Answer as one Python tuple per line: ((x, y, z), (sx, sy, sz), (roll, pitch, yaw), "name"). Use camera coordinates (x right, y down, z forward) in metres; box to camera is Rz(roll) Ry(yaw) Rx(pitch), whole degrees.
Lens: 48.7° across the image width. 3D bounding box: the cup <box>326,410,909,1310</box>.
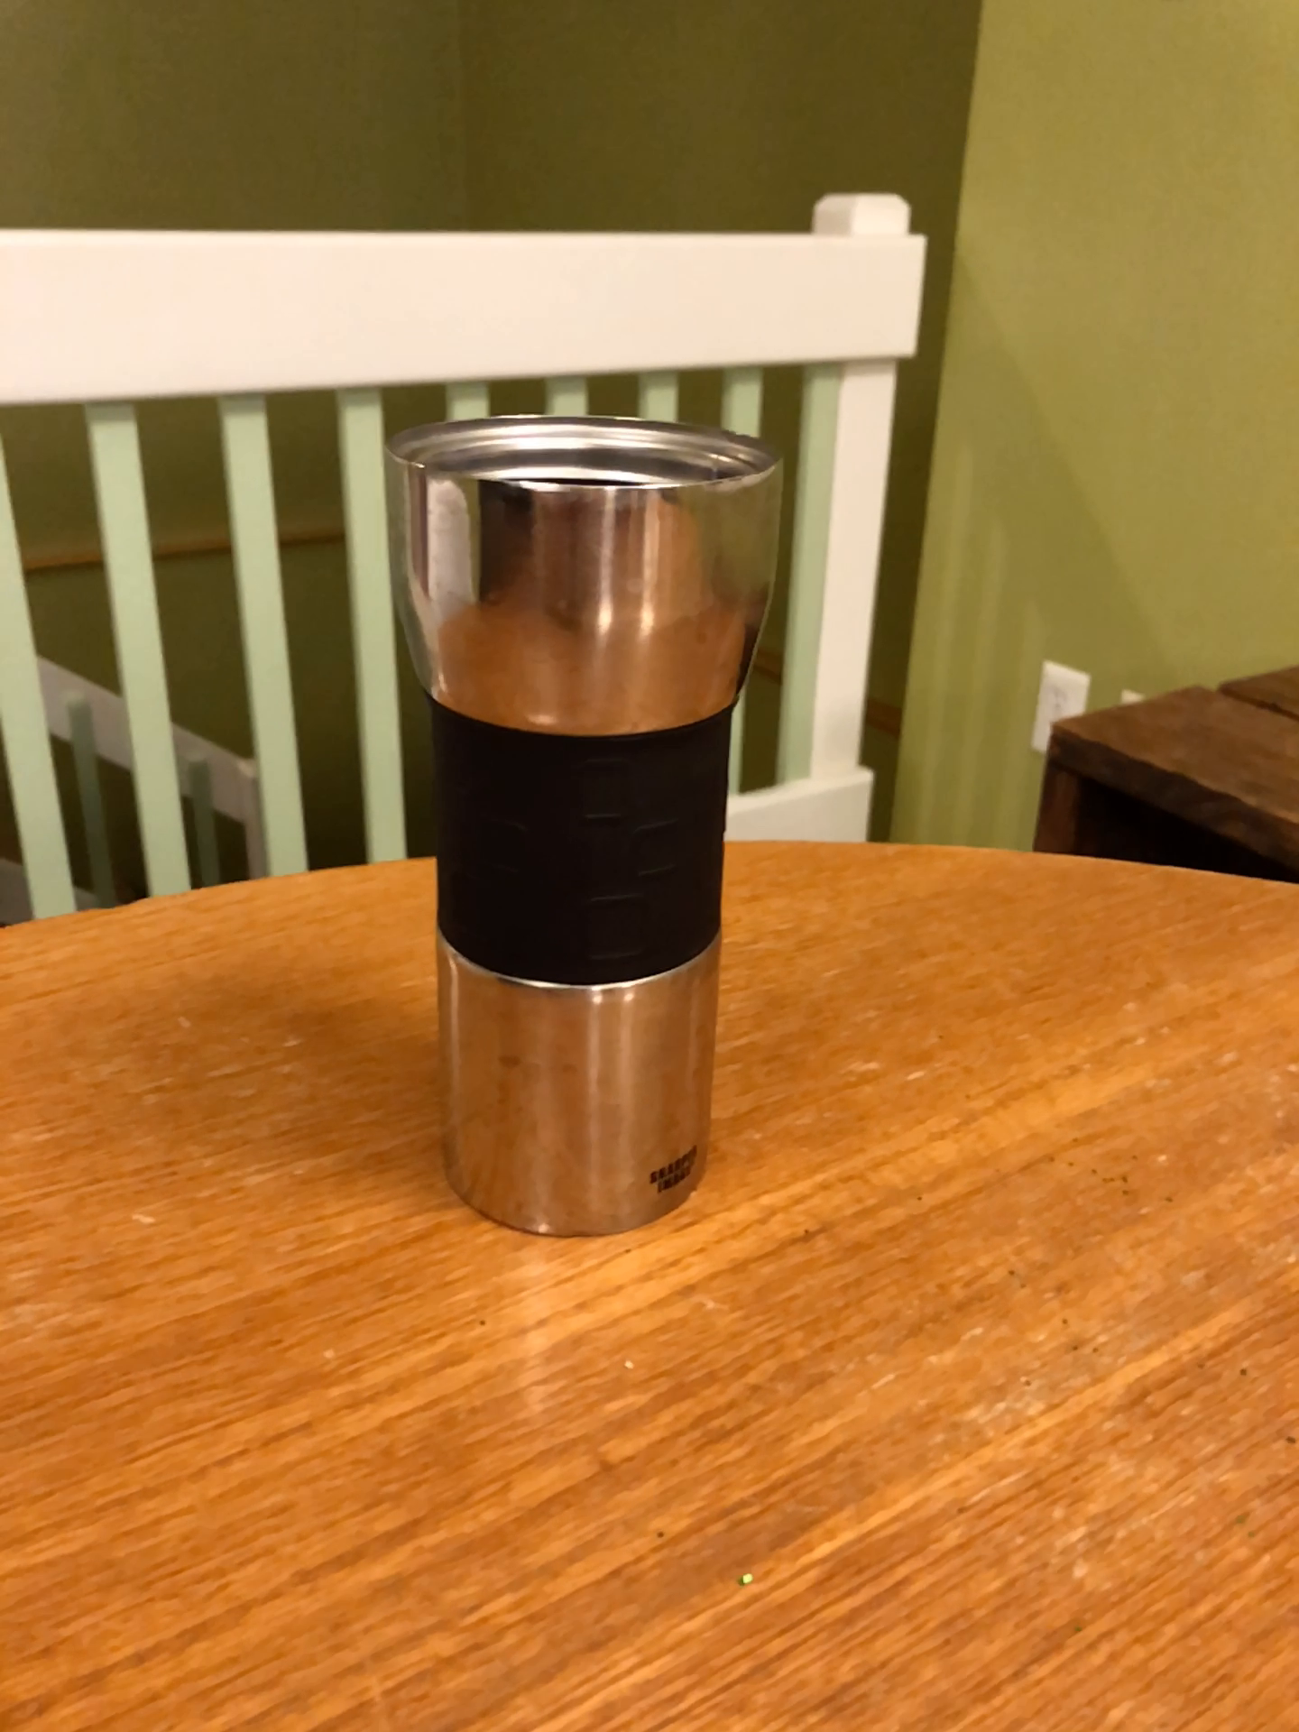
((-0.009, -0.007, 0.334), (0.084, 0.173, 0.088), (2, 25, -1), "cup")
